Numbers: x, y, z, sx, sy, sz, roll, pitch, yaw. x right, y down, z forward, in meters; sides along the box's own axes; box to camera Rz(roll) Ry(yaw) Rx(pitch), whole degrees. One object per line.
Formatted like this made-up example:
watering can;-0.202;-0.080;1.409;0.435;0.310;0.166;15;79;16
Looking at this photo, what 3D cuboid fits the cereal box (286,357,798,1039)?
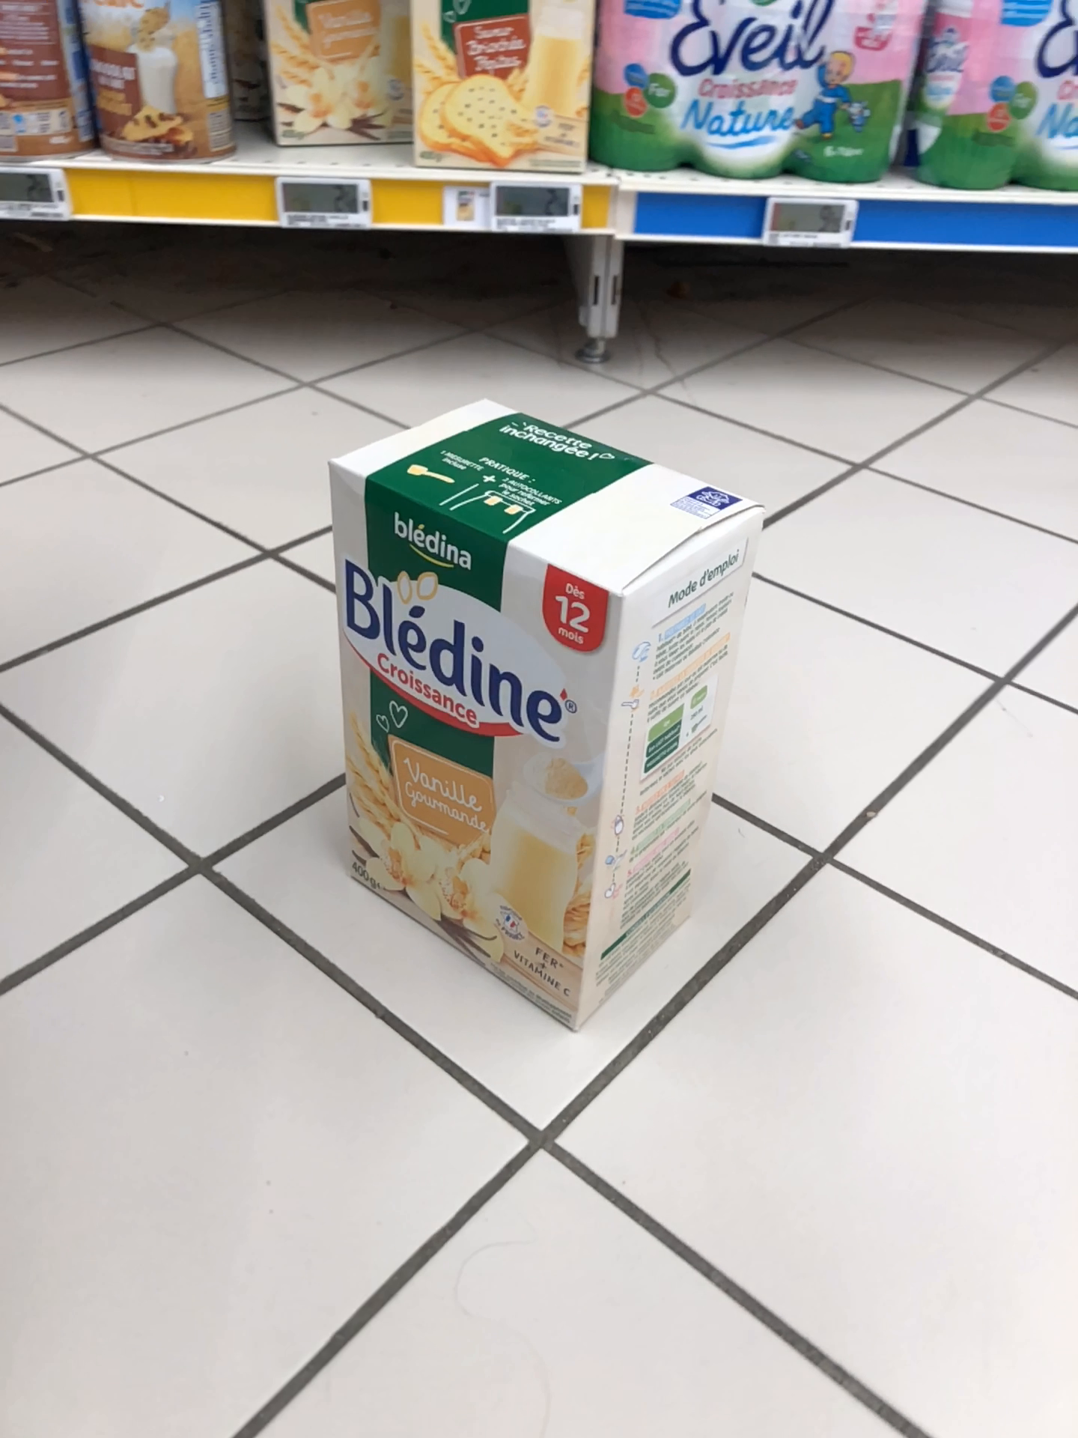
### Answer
cereal box;-0.005;-0.011;0.454;0.140;0.199;0.101;28;41;31
